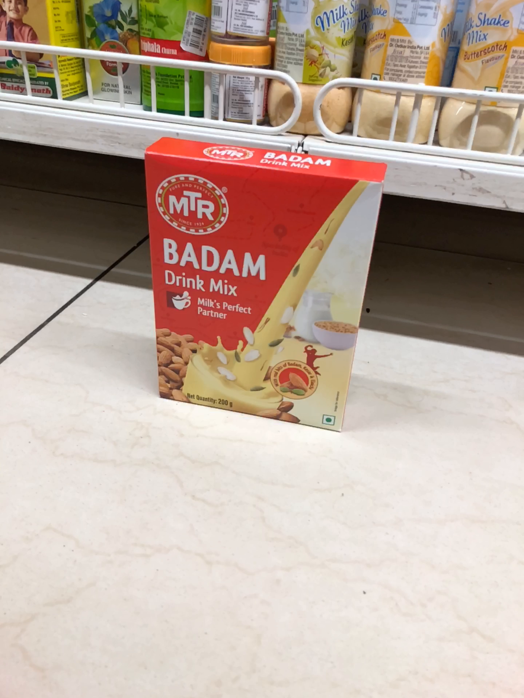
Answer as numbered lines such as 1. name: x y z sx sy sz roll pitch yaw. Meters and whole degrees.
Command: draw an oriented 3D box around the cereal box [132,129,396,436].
1. cereal box: -0.003 -0.035 0.339 0.130 0.159 0.040 10 33 8
